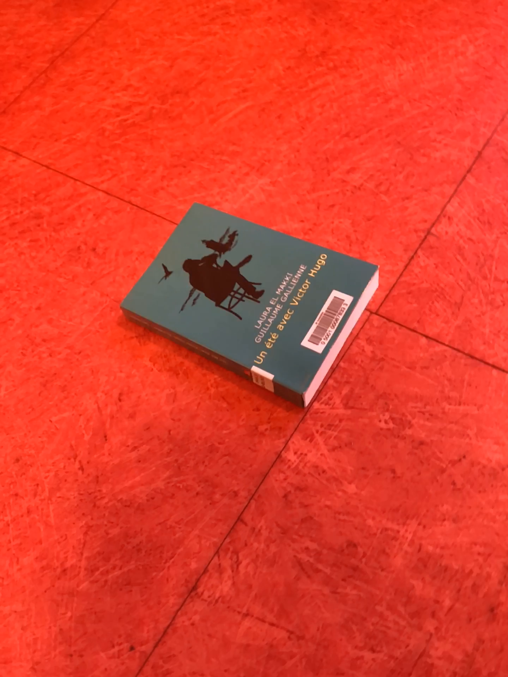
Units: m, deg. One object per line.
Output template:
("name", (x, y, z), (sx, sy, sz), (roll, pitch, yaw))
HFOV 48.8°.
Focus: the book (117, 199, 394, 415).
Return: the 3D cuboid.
("book", (-0.003, -0.031, 0.405), (0.170, 0.020, 0.110), (25, 72, 27))
